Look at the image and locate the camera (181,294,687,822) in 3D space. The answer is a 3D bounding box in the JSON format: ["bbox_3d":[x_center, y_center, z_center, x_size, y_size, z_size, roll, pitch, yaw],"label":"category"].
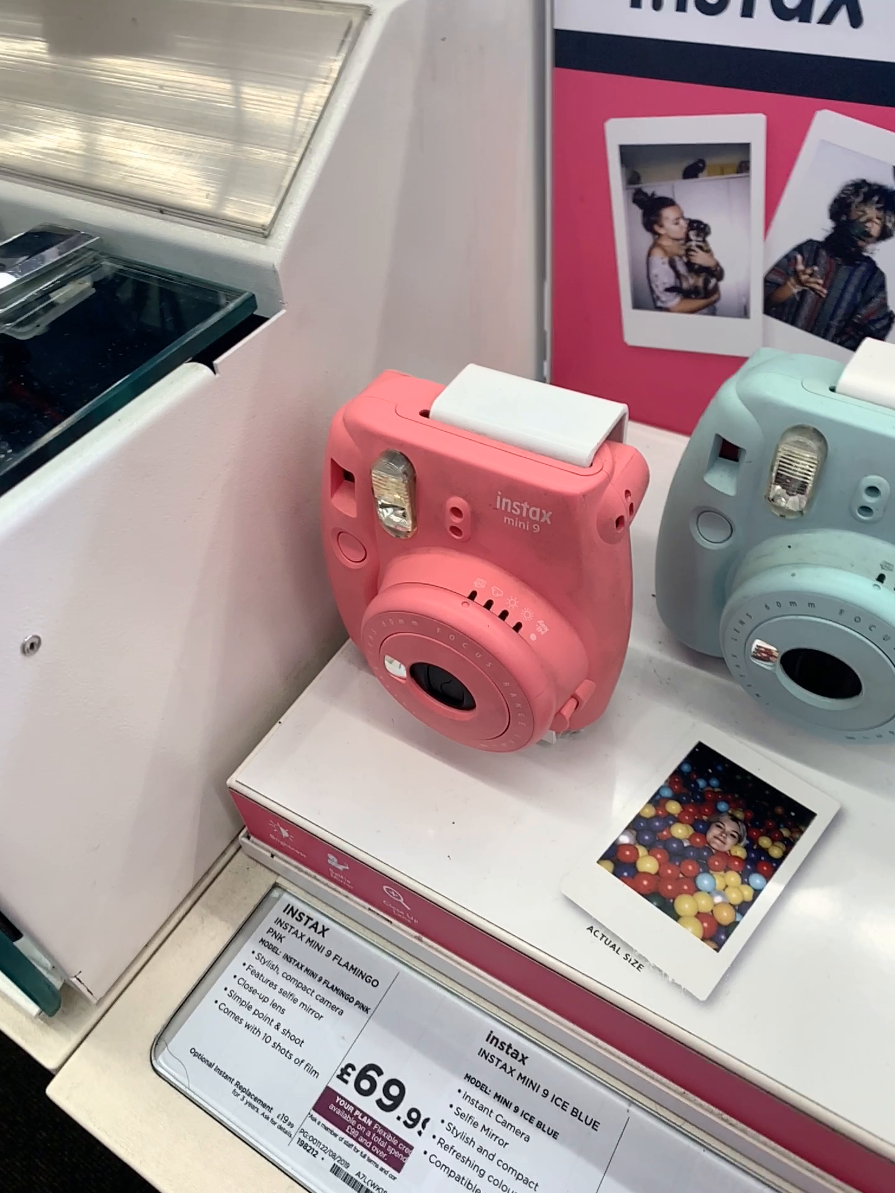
[{"bbox_3d":[0.000,-0.014,0.305,0.120,0.119,0.080,22,53,24],"label":"camera"}]
